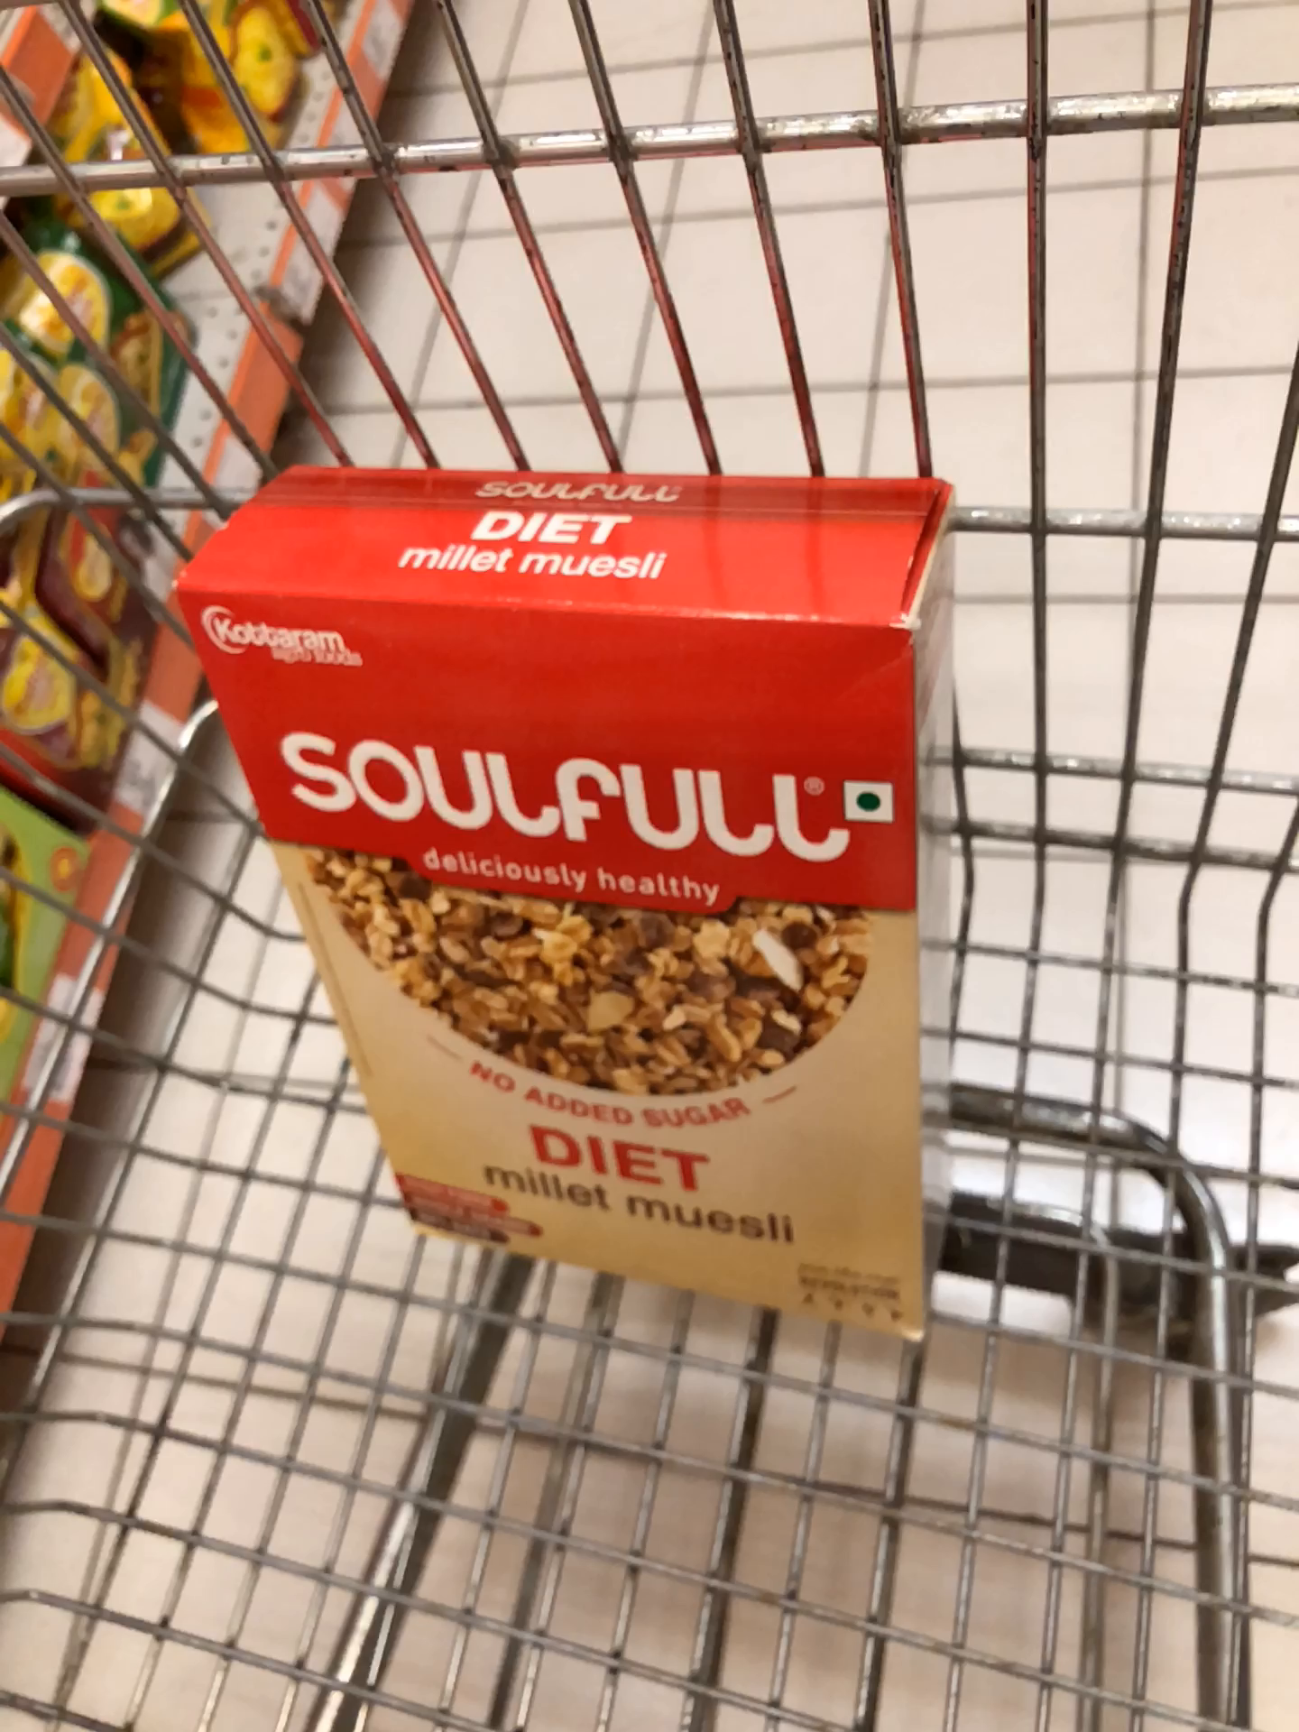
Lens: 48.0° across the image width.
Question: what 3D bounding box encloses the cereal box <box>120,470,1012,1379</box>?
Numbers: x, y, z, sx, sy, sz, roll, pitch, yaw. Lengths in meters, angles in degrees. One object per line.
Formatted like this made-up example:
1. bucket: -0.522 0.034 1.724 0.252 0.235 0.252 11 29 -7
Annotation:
1. cereal box: -0.003 0.028 0.370 0.170 0.249 0.050 7 46 18
